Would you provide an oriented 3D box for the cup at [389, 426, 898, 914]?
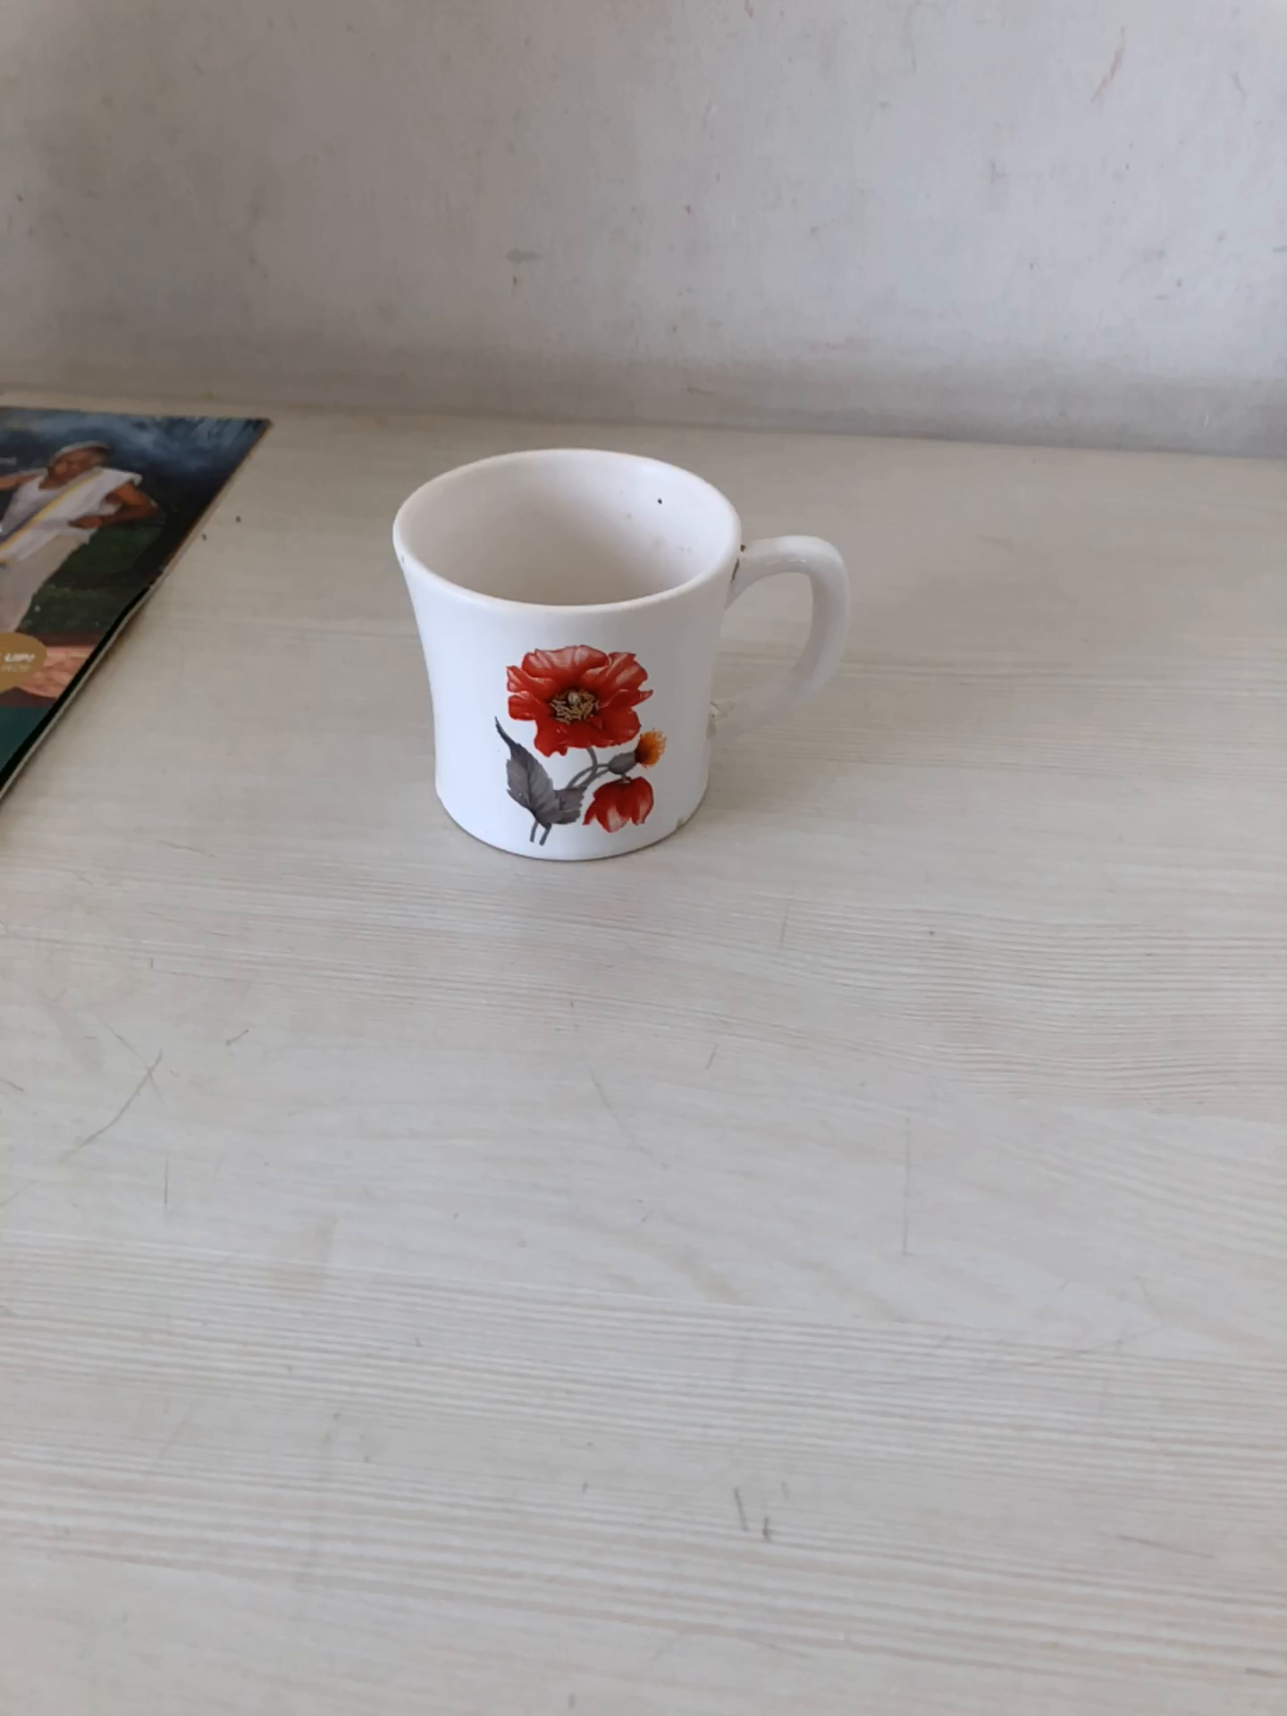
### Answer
[{"bbox_3d":[-0.004,-0.042,0.302,0.090,0.069,0.070,-5,39,-7],"label":"cup"}]
